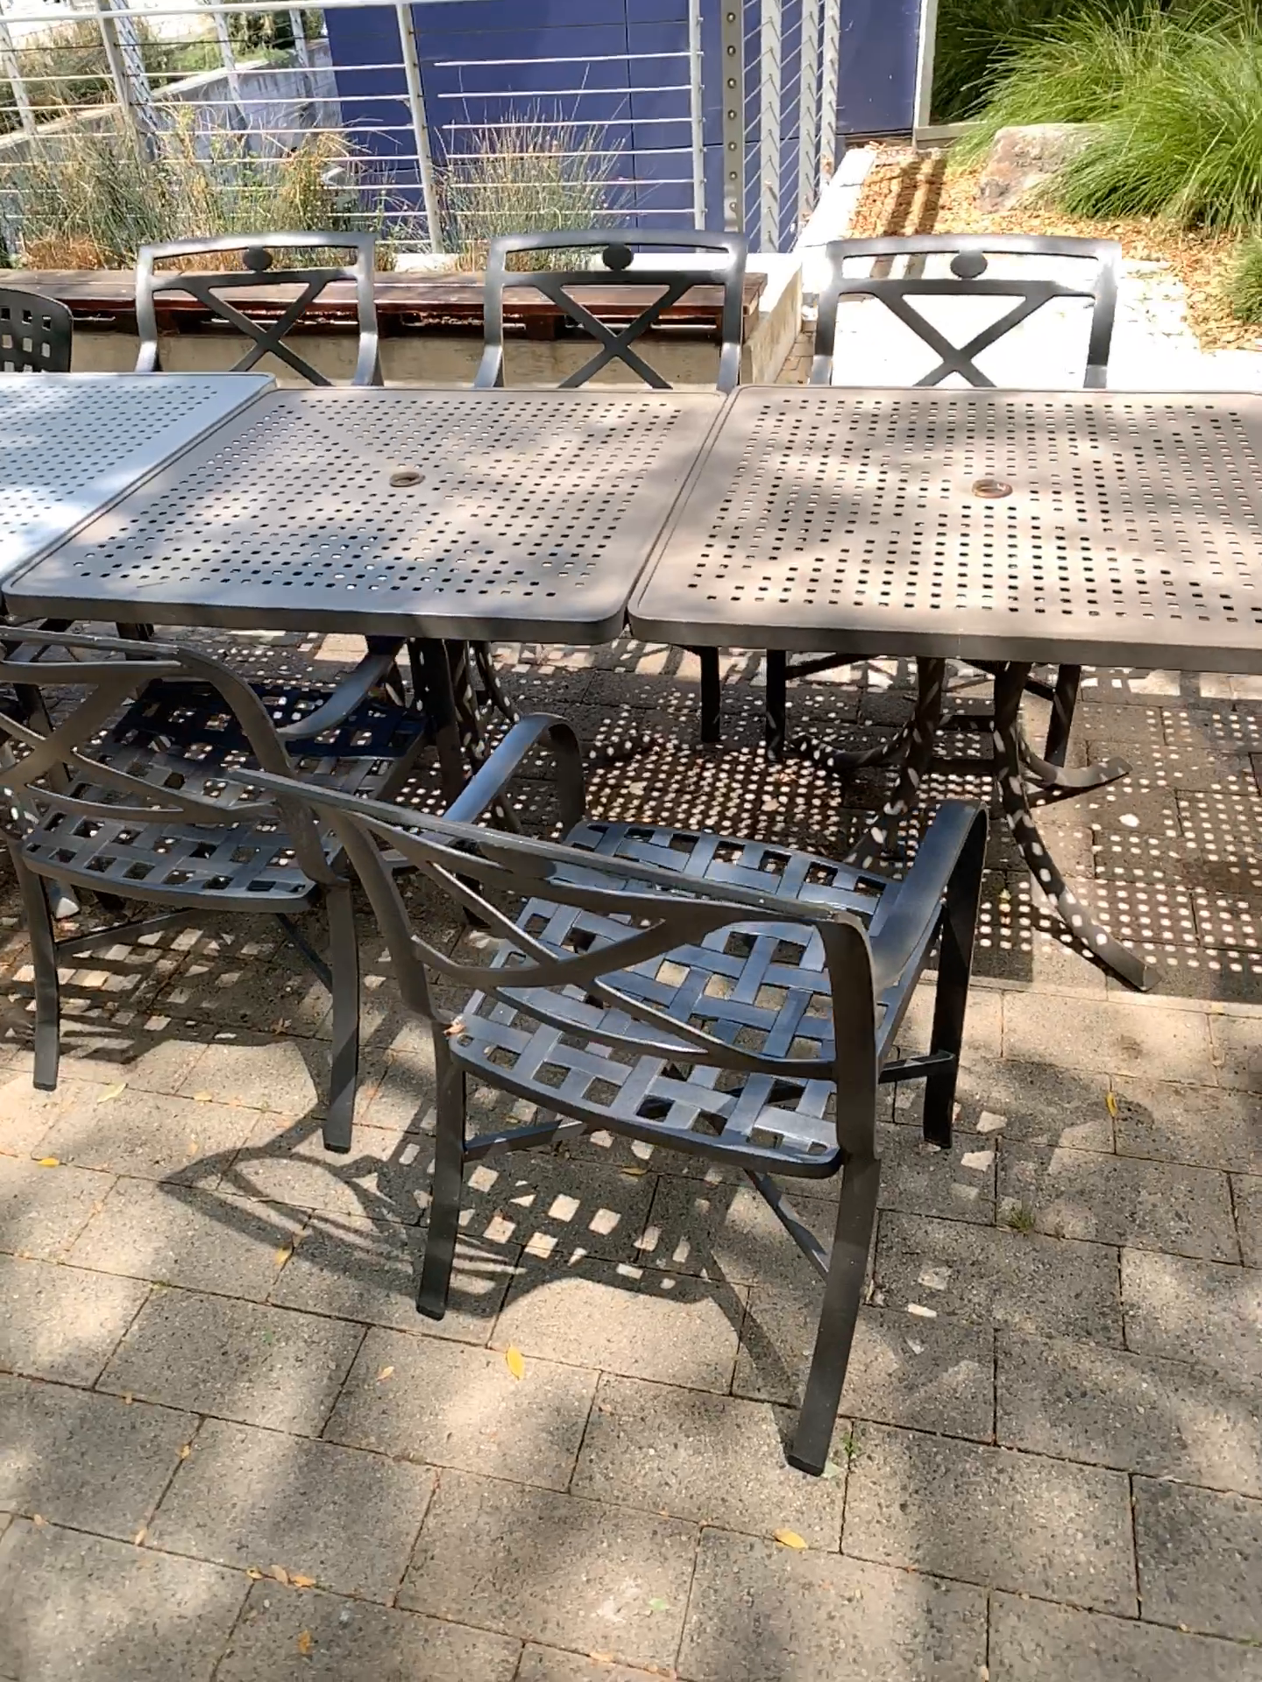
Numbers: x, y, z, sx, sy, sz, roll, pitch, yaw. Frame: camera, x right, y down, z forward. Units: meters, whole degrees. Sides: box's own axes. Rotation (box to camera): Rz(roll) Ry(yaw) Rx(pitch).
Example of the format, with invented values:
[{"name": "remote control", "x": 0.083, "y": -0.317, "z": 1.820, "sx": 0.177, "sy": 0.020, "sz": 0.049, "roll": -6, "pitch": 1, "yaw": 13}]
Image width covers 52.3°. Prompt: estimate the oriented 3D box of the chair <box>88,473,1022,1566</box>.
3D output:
[{"name": "chair", "x": -0.010, "y": 0.170, "z": 1.424, "sx": 0.631, "sy": 0.885, "sz": 0.612, "roll": 14, "pitch": 41, "yaw": 22}]
